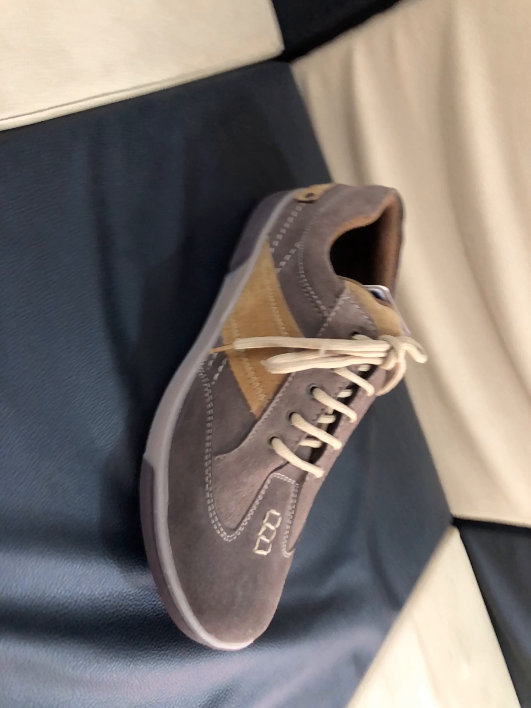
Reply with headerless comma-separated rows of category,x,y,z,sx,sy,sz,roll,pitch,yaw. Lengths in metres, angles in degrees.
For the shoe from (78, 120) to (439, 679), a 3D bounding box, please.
shoe,0.015,0.013,0.348,0.101,0.079,0.291,39,59,-36
